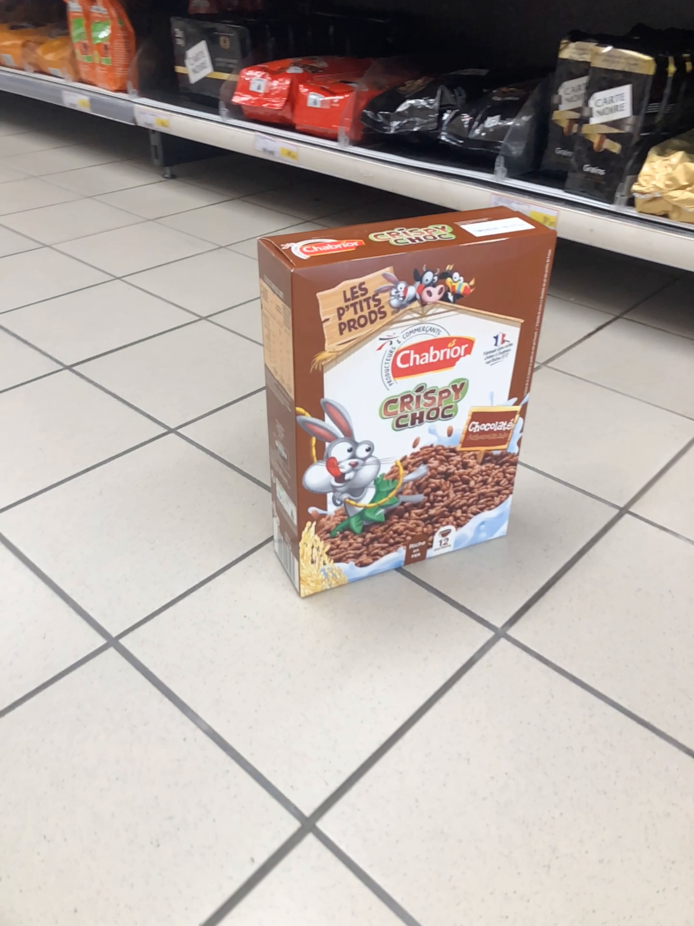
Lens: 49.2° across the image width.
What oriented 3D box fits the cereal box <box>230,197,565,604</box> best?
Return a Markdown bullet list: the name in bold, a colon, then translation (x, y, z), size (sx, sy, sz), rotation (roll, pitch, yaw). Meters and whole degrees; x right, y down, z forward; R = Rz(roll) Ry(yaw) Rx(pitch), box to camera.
- **cereal box**: translation (0.033, -0.044, 0.570), size (0.211, 0.268, 0.070), rotation (-13, 36, -20)
